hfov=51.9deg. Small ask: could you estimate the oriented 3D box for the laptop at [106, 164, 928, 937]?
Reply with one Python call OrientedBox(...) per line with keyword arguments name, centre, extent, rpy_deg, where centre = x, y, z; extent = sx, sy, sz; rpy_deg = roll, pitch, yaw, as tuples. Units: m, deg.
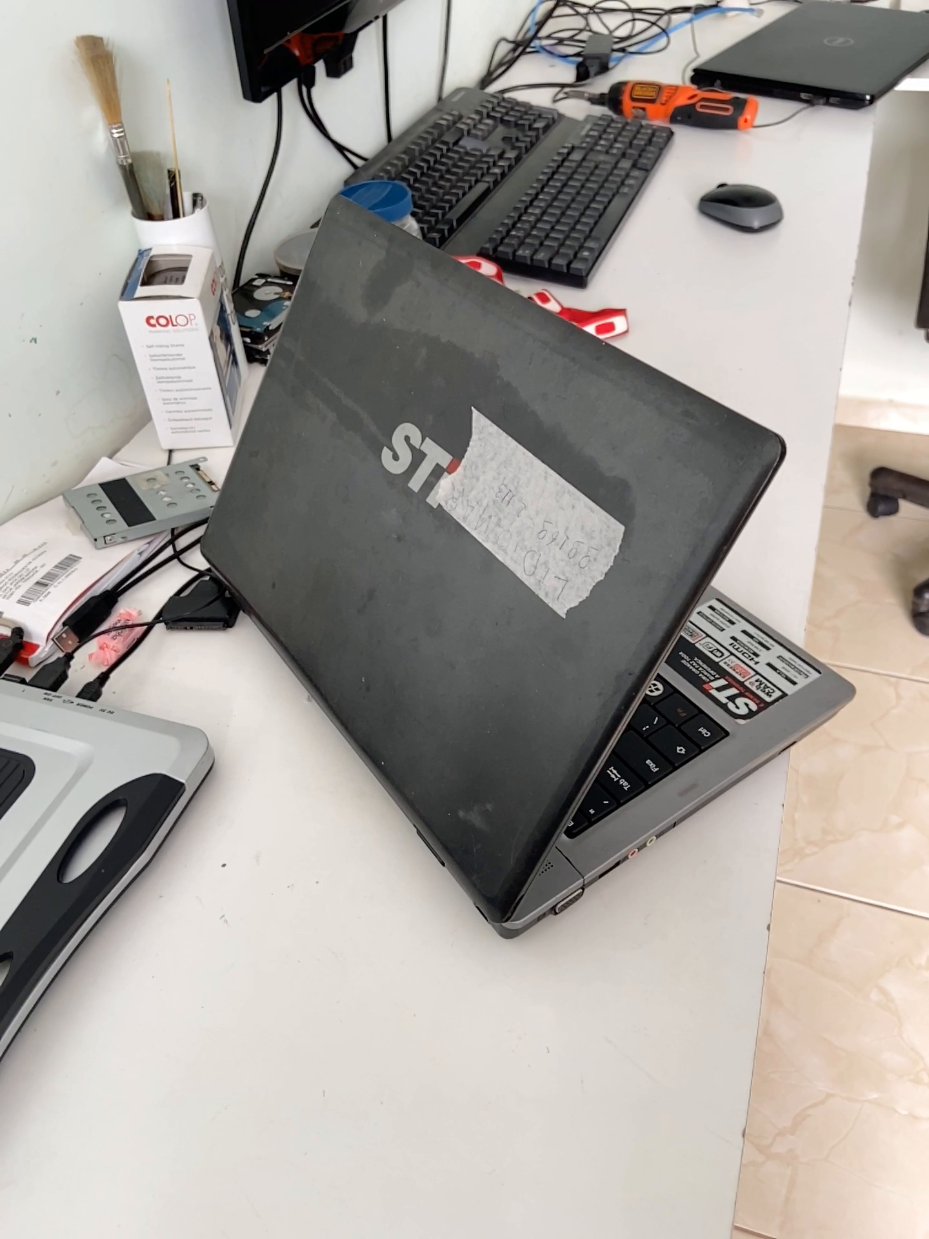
OrientedBox(name="laptop", centre=(0.014, -0.072, 0.513), extent=(0.242, 0.200, 0.343), rpy_deg=(-27, 48, -22))
